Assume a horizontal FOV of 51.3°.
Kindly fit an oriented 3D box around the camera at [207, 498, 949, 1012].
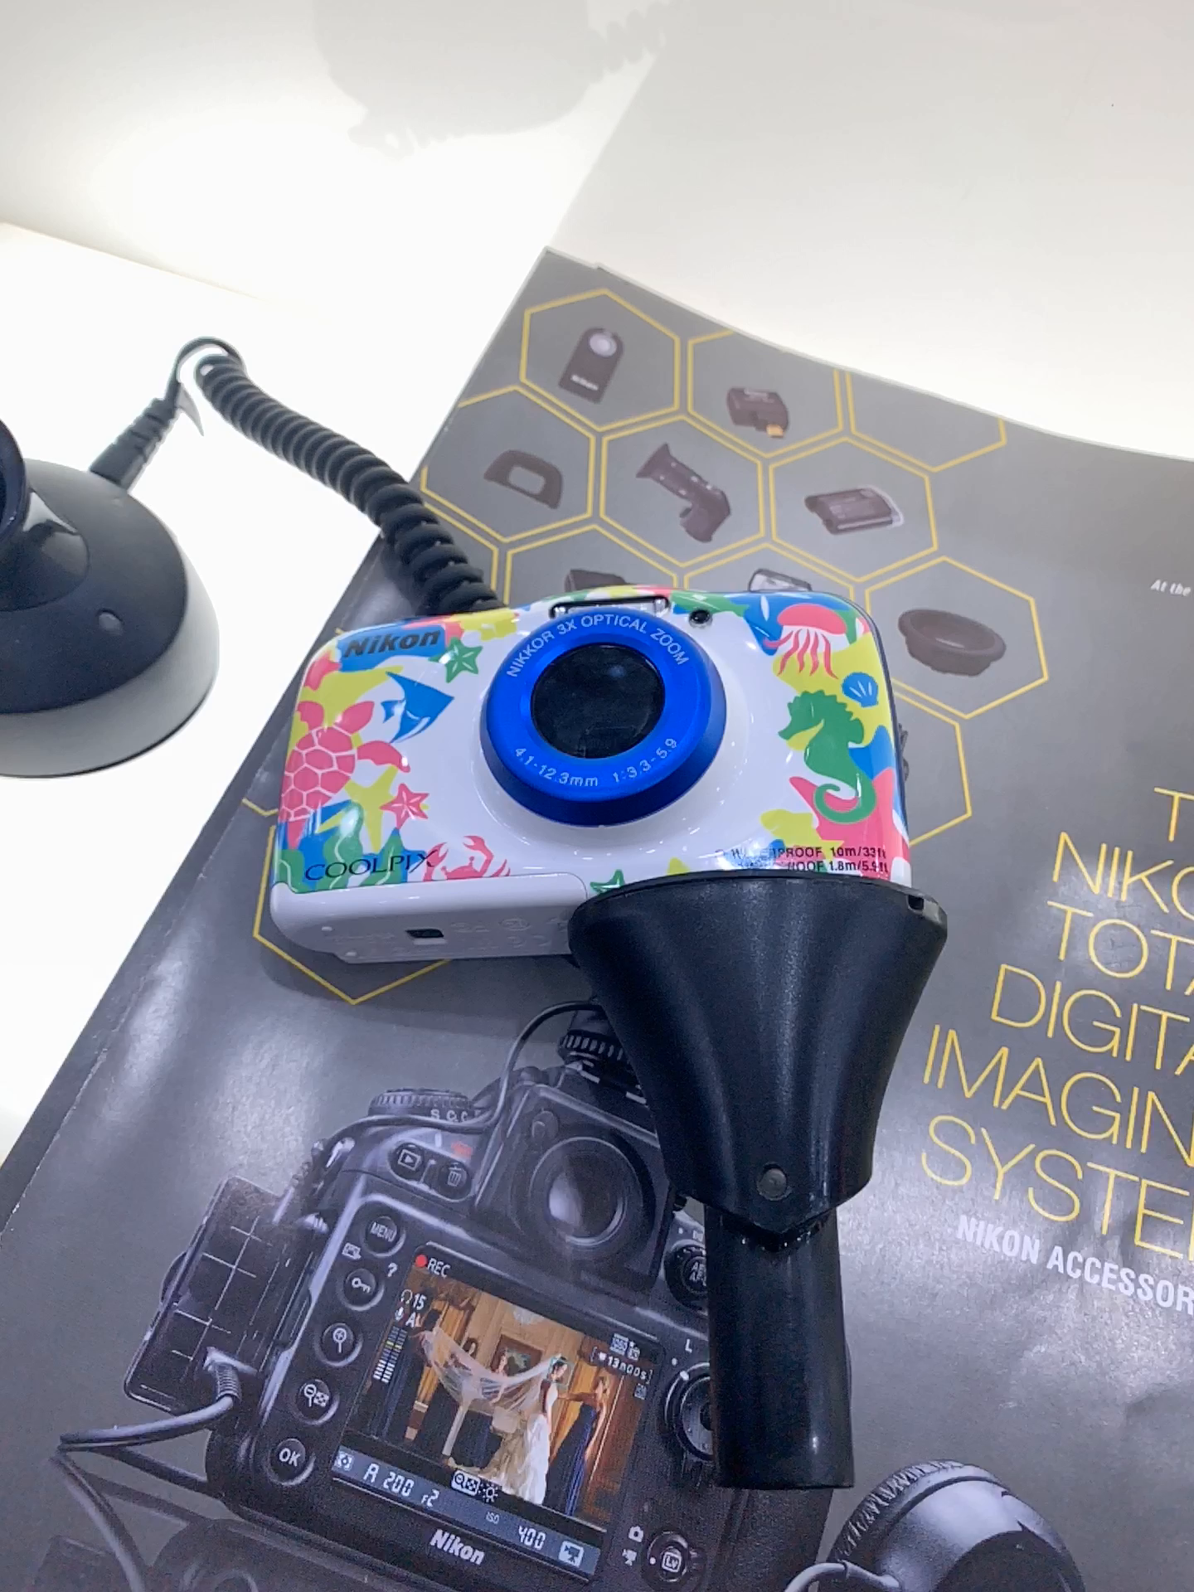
[{"bbox_3d":[-0.002,-0.008,0.217,0.110,0.030,0.080,-3,57,6],"label":"camera"}]
